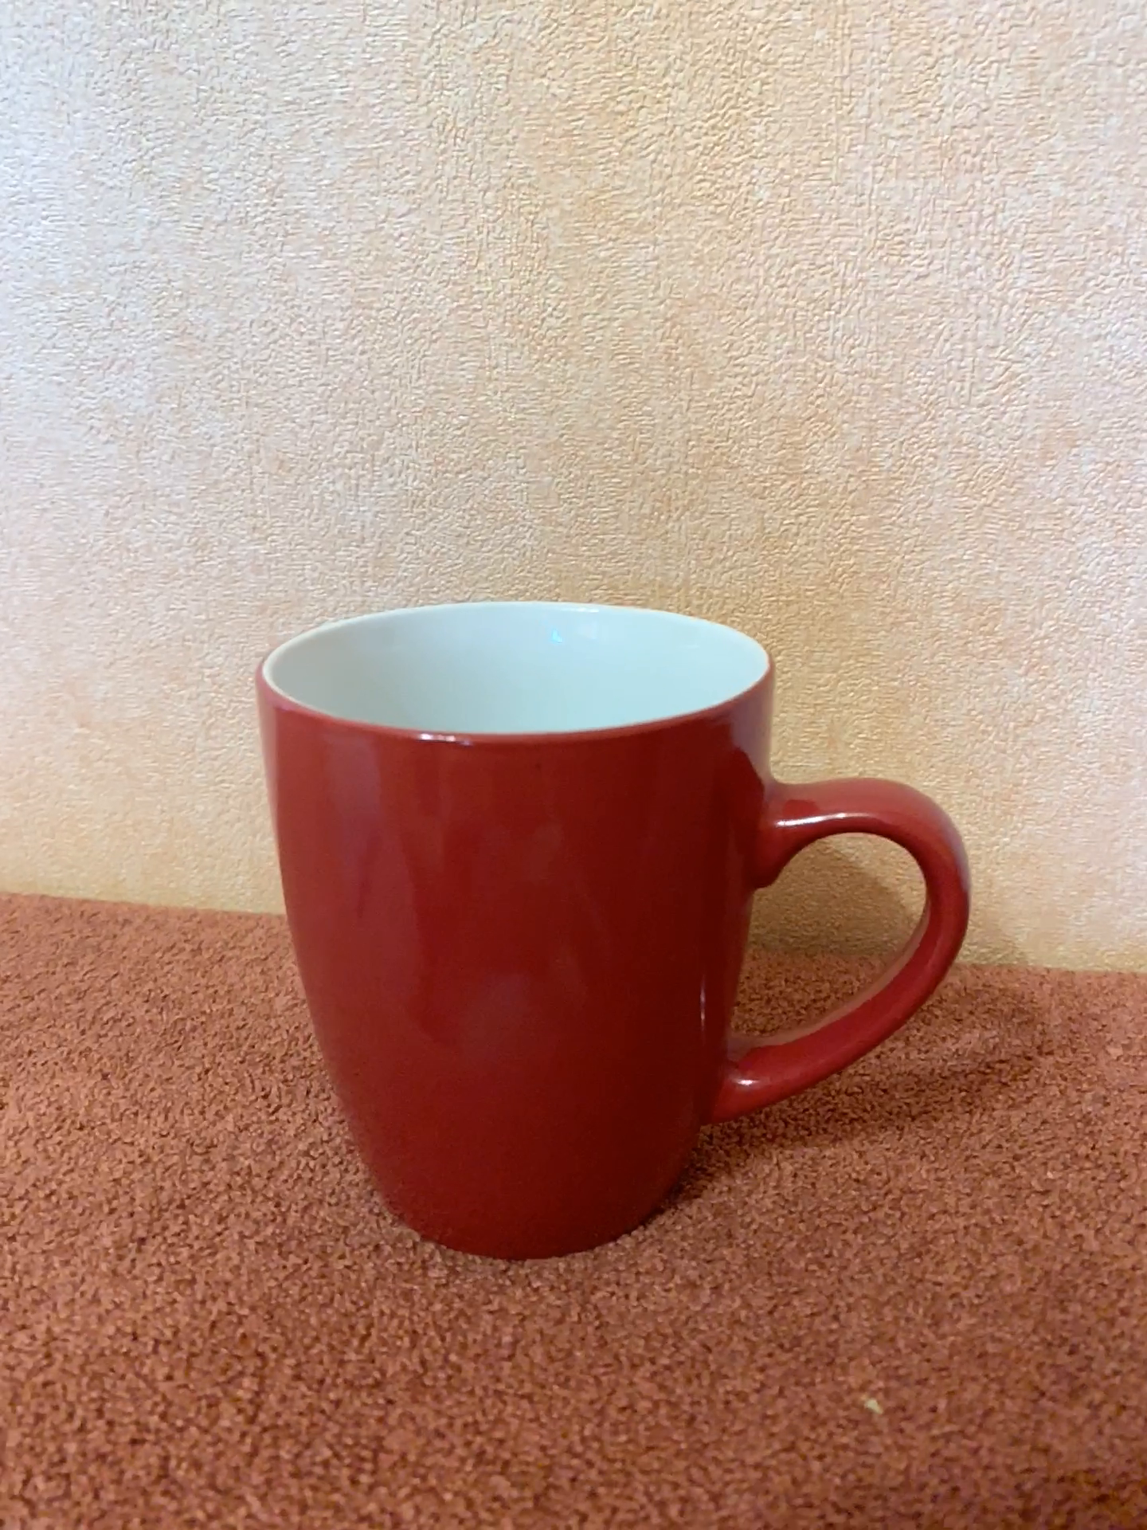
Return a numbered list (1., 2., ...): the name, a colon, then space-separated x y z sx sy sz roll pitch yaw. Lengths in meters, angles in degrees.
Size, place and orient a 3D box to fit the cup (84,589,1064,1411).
1. cup: 0.005 0.026 0.196 0.122 0.091 0.083 3 21 14
